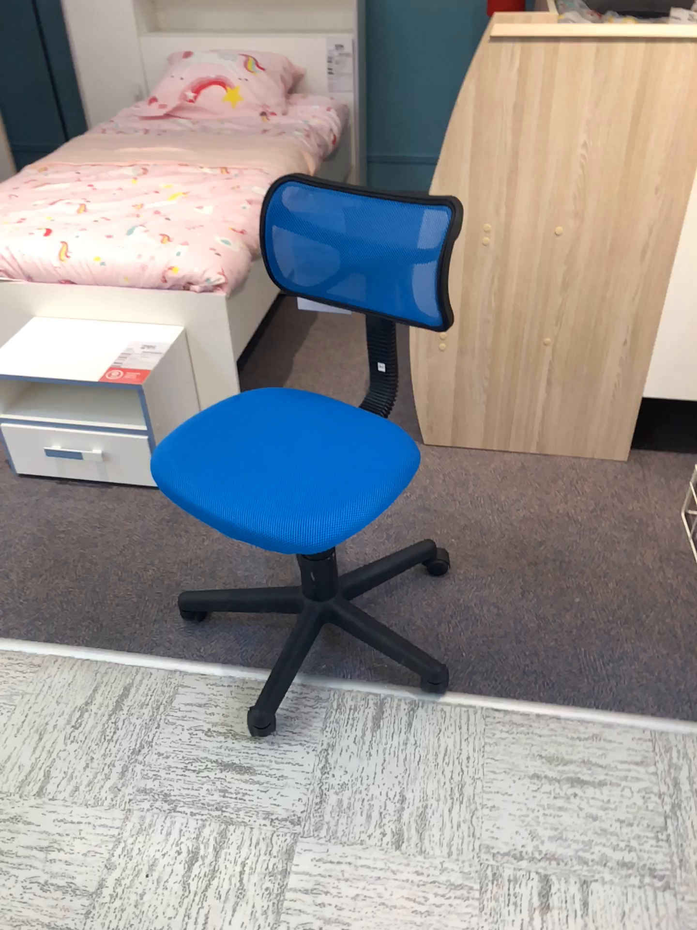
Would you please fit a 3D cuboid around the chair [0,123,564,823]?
[{"bbox_3d":[-0.112,-0.037,1.250,0.660,0.795,0.614,16,40,23],"label":"chair"}]
